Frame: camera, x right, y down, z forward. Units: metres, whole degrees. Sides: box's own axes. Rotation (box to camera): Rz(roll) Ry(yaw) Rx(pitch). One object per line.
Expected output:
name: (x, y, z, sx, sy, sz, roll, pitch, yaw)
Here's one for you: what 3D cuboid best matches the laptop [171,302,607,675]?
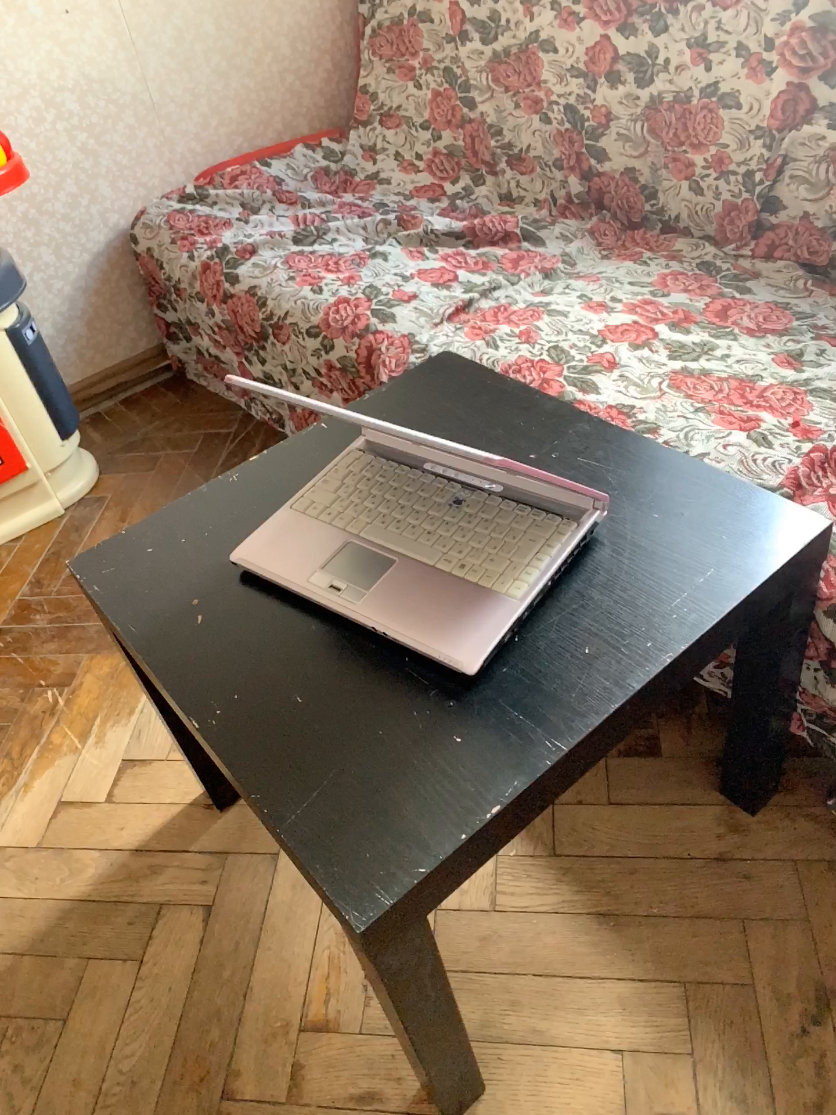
laptop: (-0.020, -0.082, 0.775, 0.306, 0.156, 0.226, 22, 53, 33)
